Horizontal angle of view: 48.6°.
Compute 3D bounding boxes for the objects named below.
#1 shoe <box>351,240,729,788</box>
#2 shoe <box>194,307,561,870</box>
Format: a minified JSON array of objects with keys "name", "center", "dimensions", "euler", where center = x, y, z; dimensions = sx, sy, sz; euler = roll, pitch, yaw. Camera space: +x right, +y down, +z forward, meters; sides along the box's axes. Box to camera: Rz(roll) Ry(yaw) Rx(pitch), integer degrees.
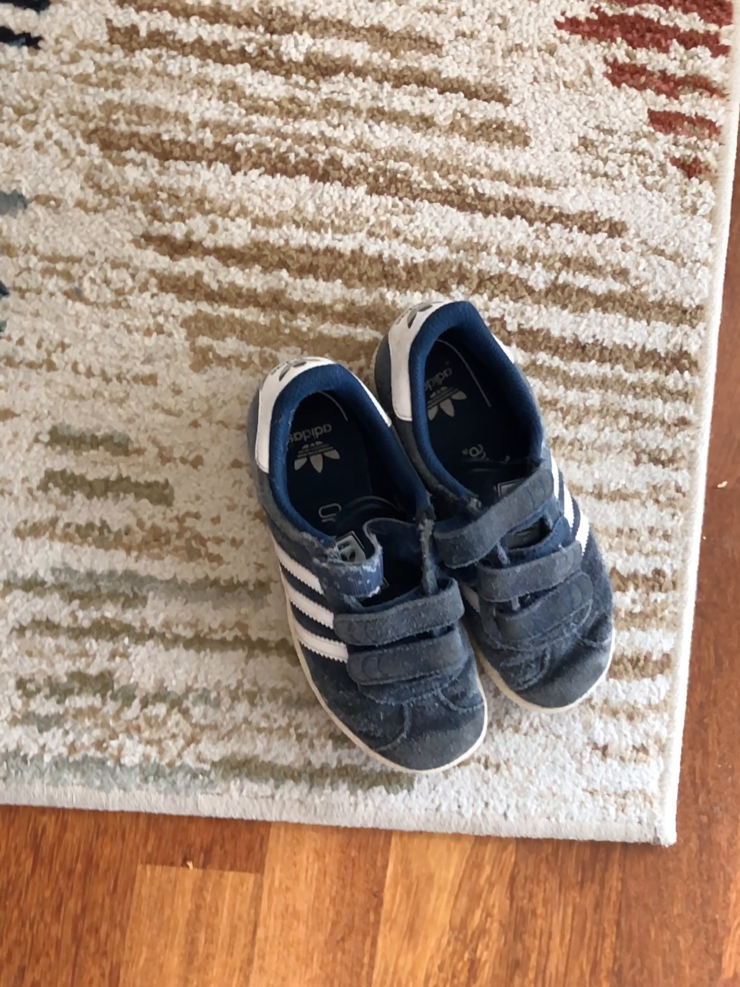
[{"name":"shoe","center":[0.074,0.008,0.377],"dimensions":[0.086,0.052,0.219],"euler":[-22,91,-9]},{"name":"shoe","center":[0.001,0.039,0.365],"dimensions":[0.084,0.053,0.216],"euler":[-20,91,-9]}]
